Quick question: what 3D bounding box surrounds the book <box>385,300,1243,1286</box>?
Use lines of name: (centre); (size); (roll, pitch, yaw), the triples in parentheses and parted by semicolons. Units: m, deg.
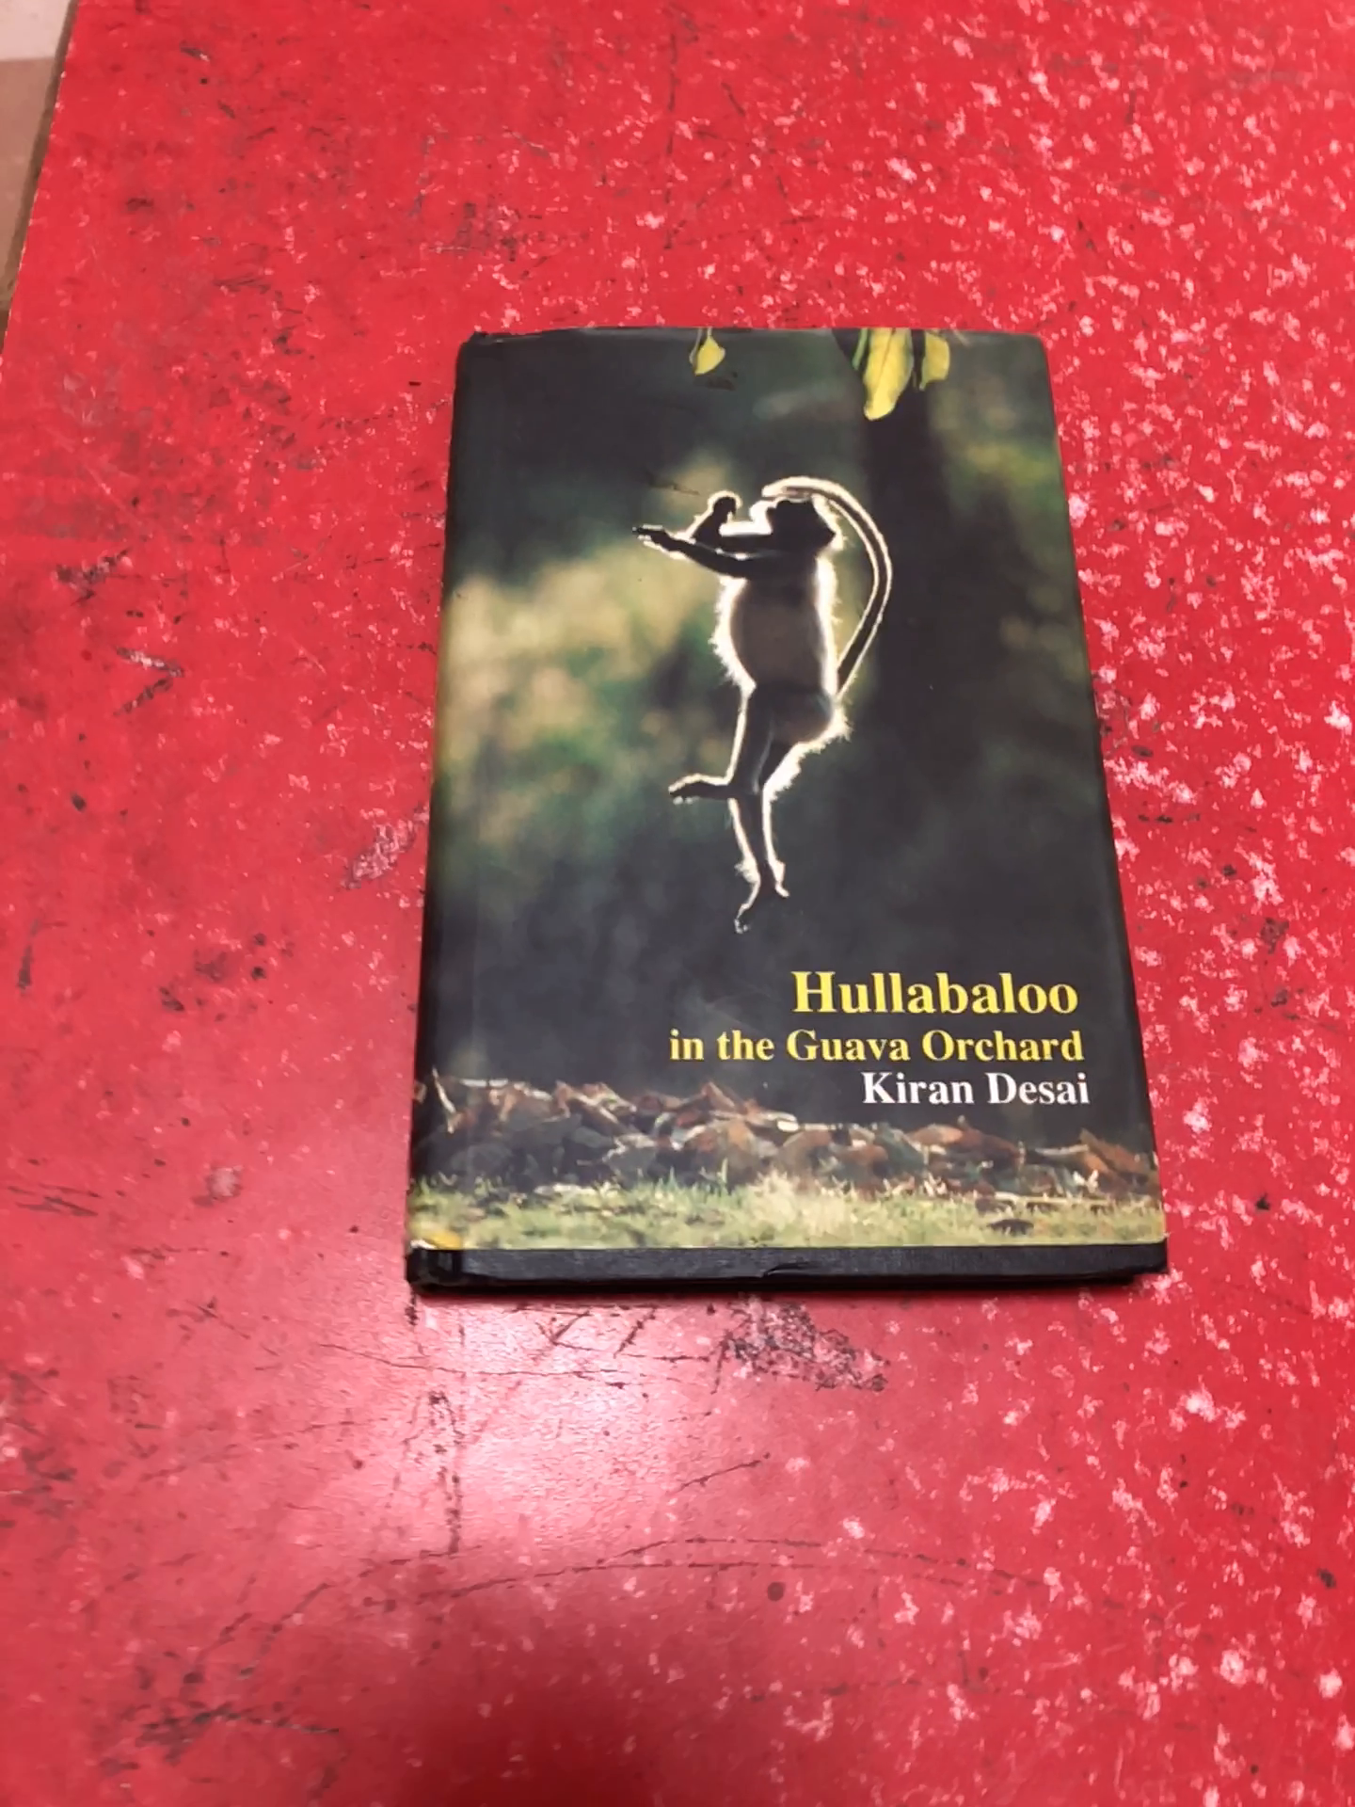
book: (0.023, -0.035, 0.339); (0.160, 0.030, 0.230); (0, 67, -2)
